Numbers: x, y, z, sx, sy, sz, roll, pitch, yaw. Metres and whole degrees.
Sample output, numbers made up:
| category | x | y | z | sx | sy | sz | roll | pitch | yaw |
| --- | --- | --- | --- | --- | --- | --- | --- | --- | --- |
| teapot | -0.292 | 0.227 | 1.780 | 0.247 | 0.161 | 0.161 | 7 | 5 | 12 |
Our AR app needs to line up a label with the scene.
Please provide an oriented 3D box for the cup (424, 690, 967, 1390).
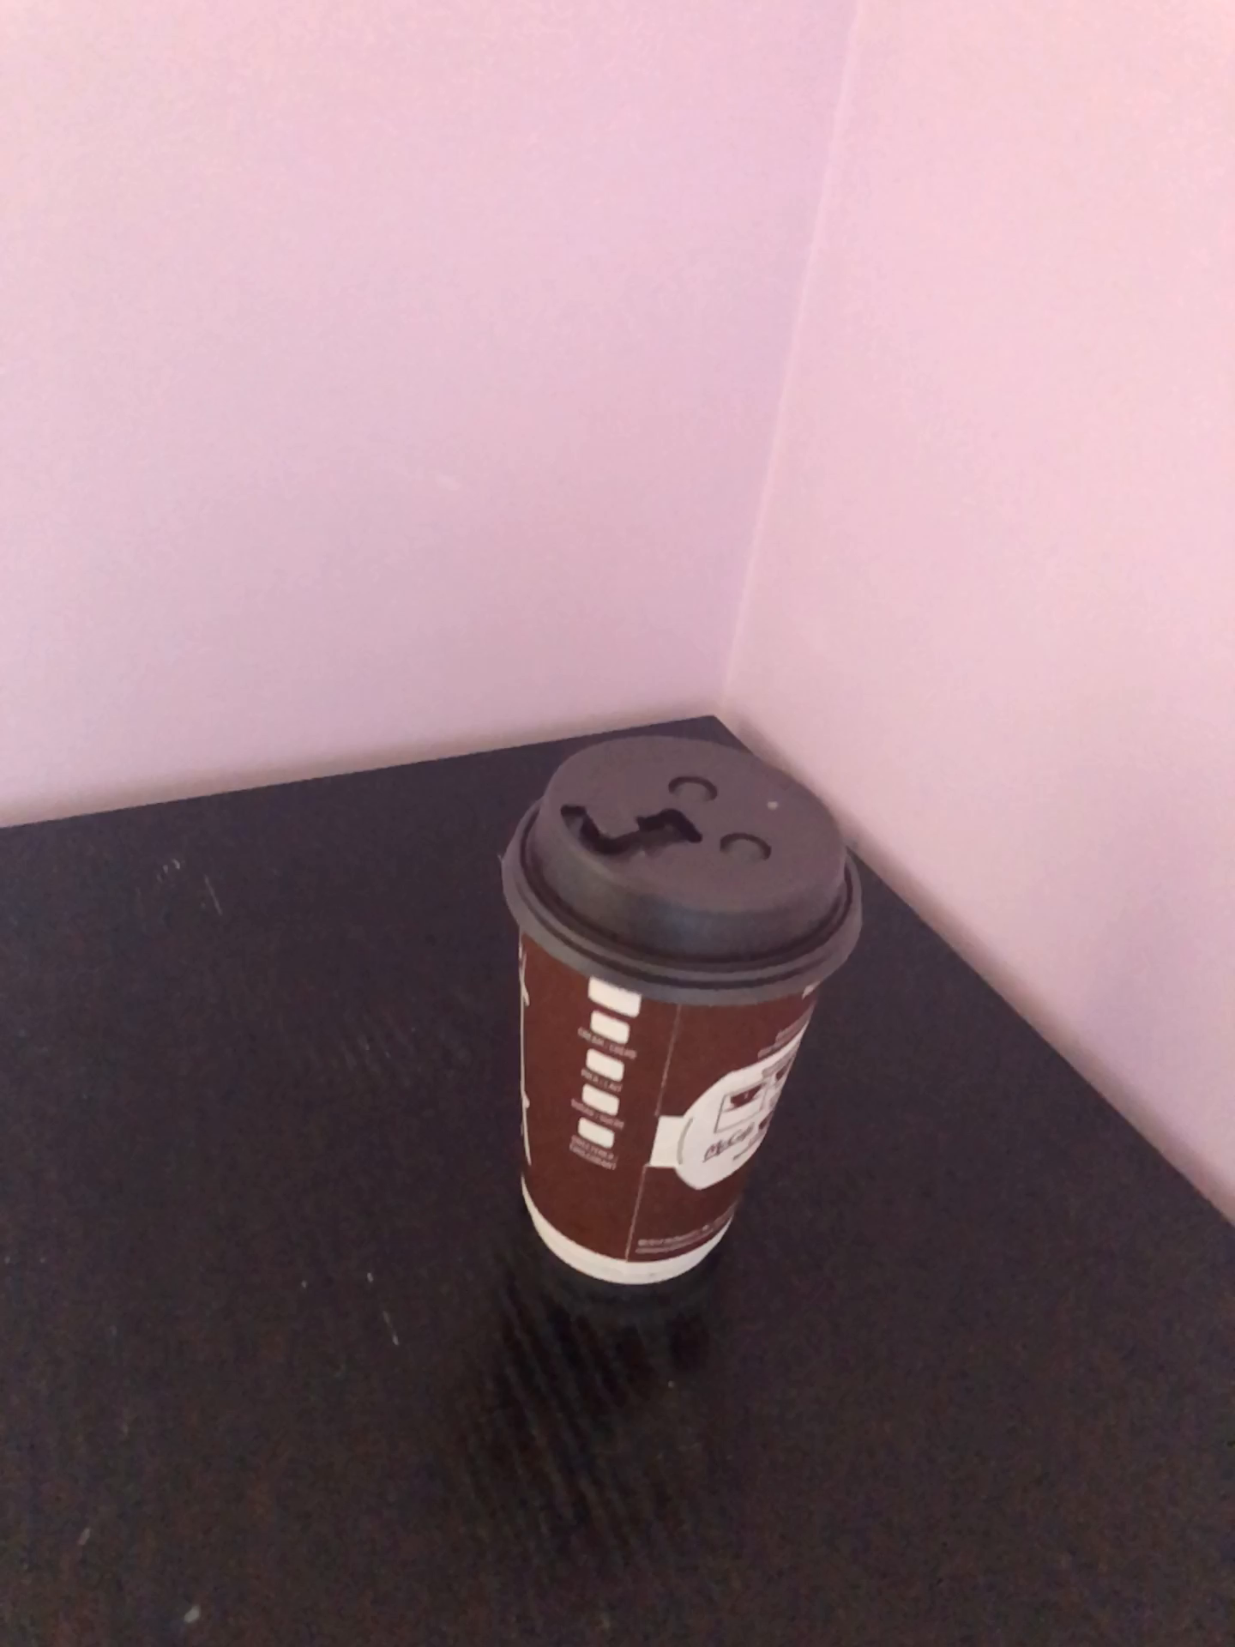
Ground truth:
| category | x | y | z | sx | sy | sz | roll | pitch | yaw |
| --- | --- | --- | --- | --- | --- | --- | --- | --- | --- |
| cup | 0.013 | 0.055 | 0.369 | 0.090 | 0.139 | 0.090 | 6 | 34 | -4 |
